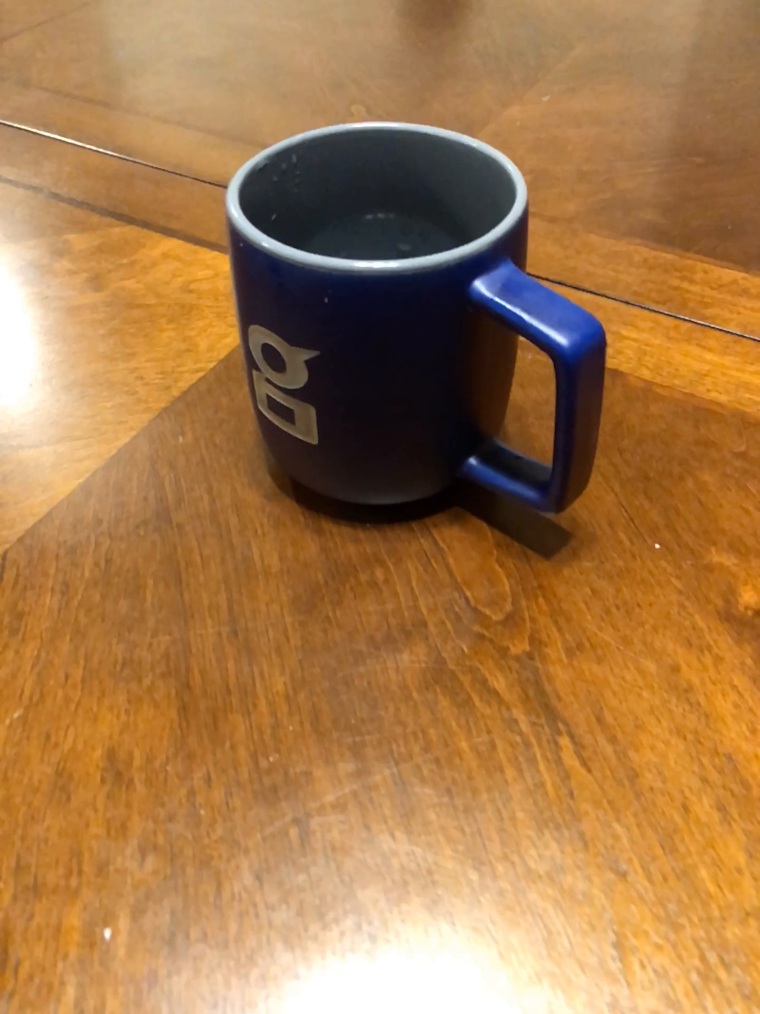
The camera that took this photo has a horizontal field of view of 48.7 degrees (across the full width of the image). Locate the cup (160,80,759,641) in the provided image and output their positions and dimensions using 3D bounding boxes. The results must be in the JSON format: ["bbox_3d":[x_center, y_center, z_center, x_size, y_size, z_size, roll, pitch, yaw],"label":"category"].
[{"bbox_3d":[0.021,-0.055,0.276,0.140,0.099,0.100,34,56,28],"label":"cup"}]

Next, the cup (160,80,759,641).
[{"bbox_3d":[0.021,-0.055,0.276,0.140,0.099,0.100,34,56,28],"label":"cup"}]
